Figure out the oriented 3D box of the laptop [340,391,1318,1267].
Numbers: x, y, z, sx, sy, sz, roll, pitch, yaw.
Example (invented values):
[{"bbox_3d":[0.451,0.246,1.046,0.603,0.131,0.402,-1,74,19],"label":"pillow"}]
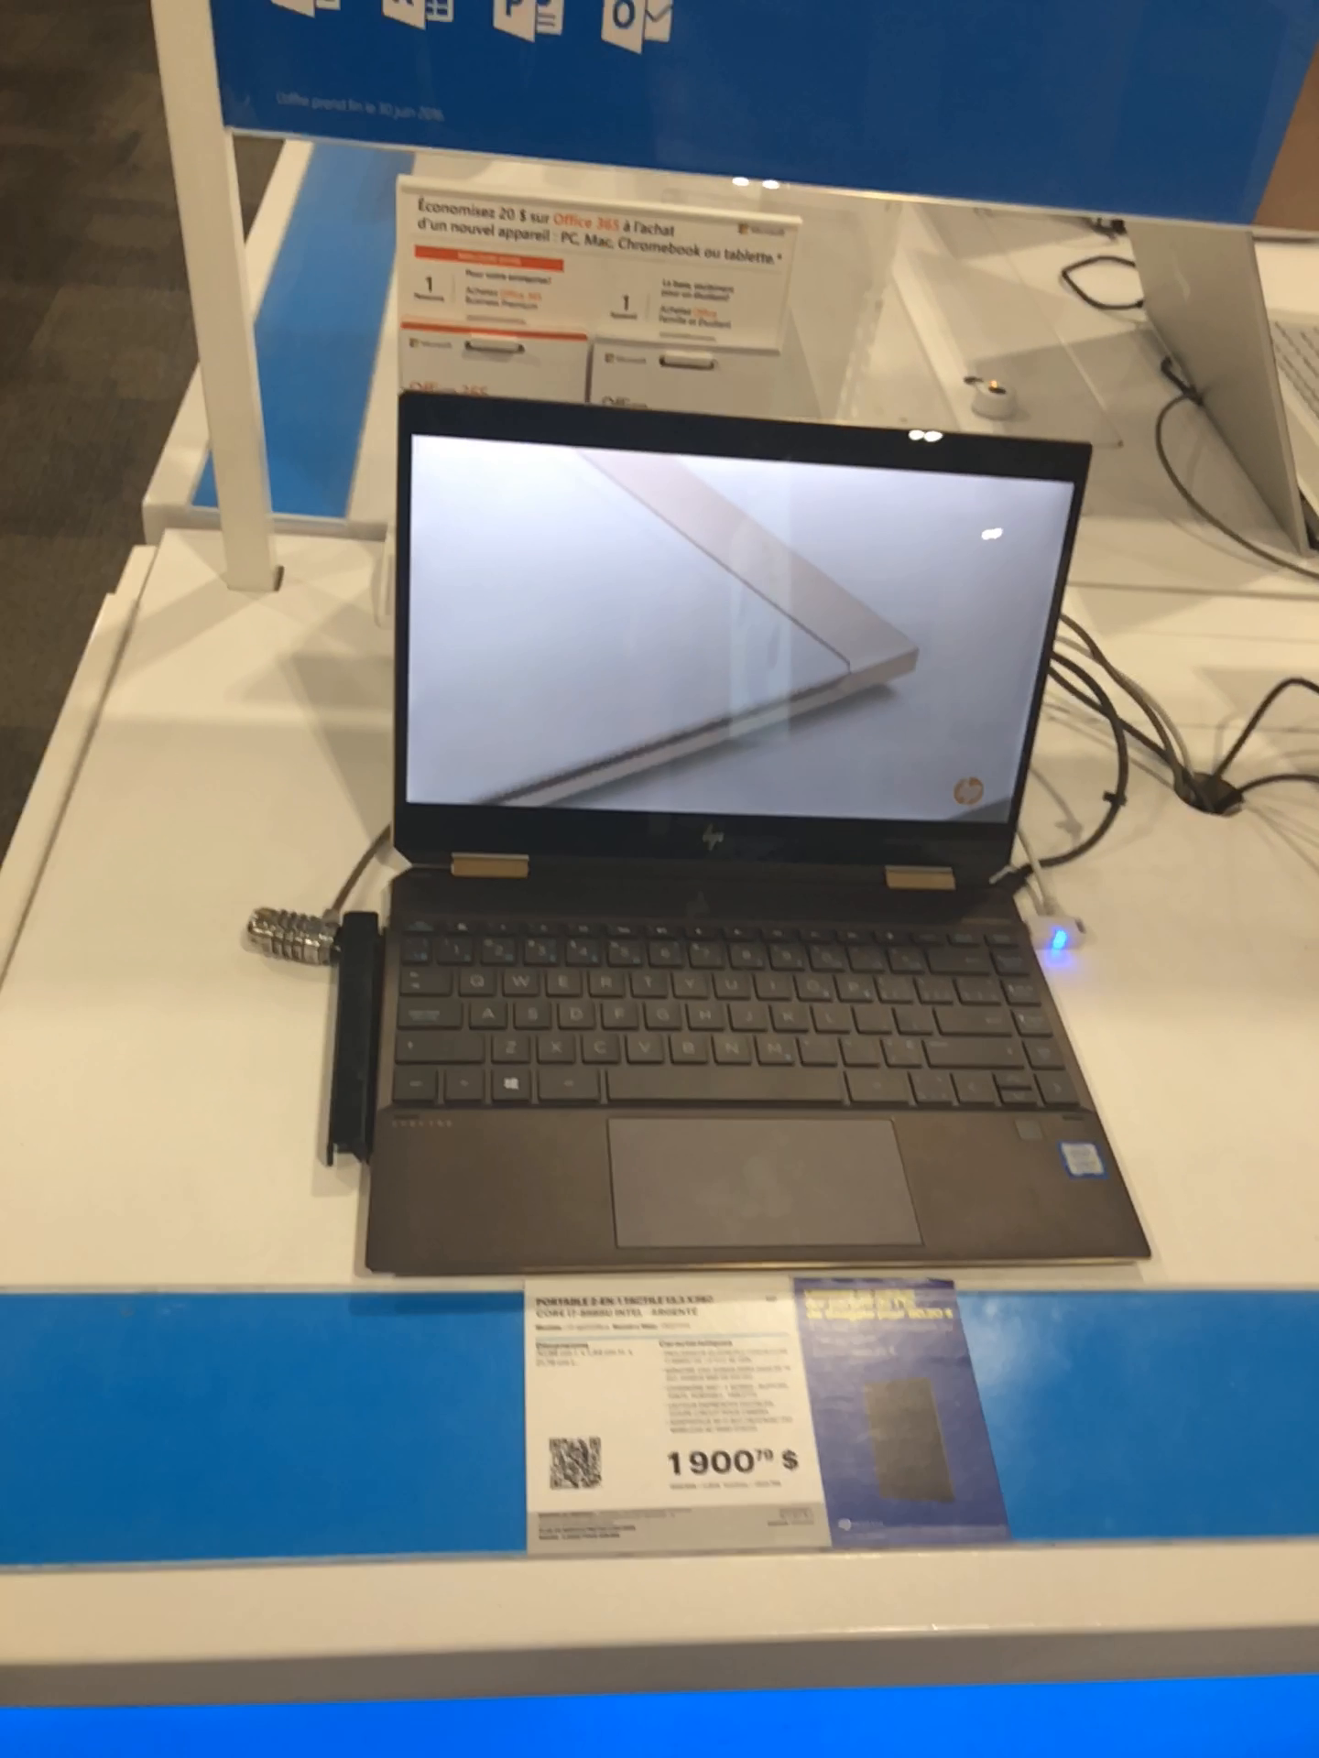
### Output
[{"bbox_3d":[0.037,-0.025,0.585,0.297,0.197,0.286,2,42,-8],"label":"laptop"}]
